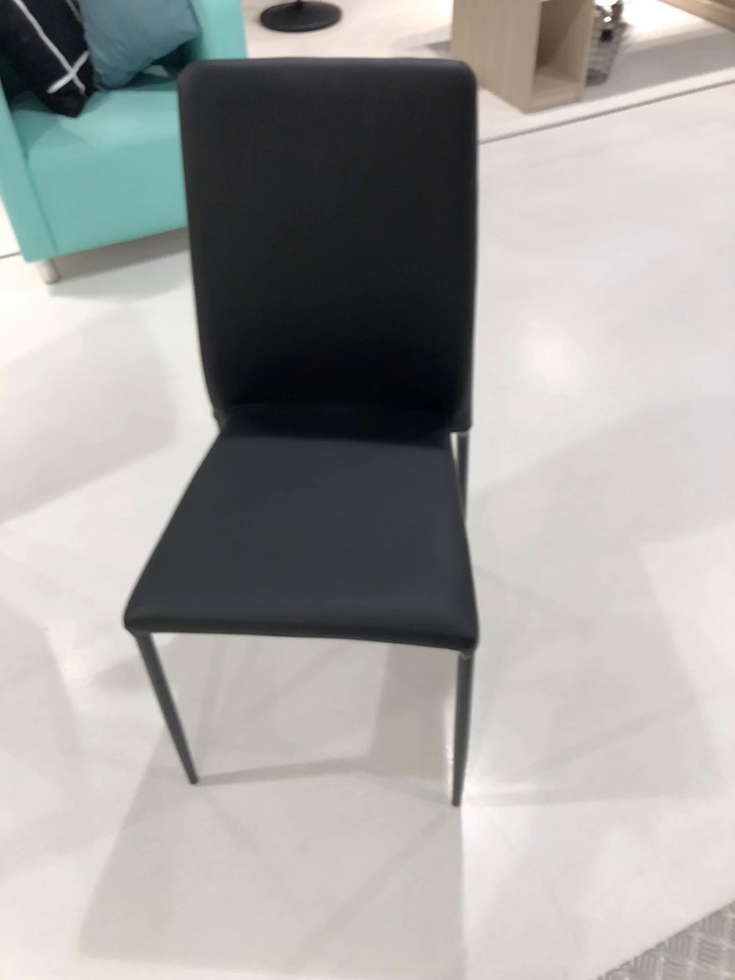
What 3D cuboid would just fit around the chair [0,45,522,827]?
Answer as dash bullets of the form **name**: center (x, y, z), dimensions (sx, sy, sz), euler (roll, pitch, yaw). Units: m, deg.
- **chair**: center (-0.069, -0.031, 1.115), dimensions (0.450, 0.864, 0.604), euler (2, 46, 5)
